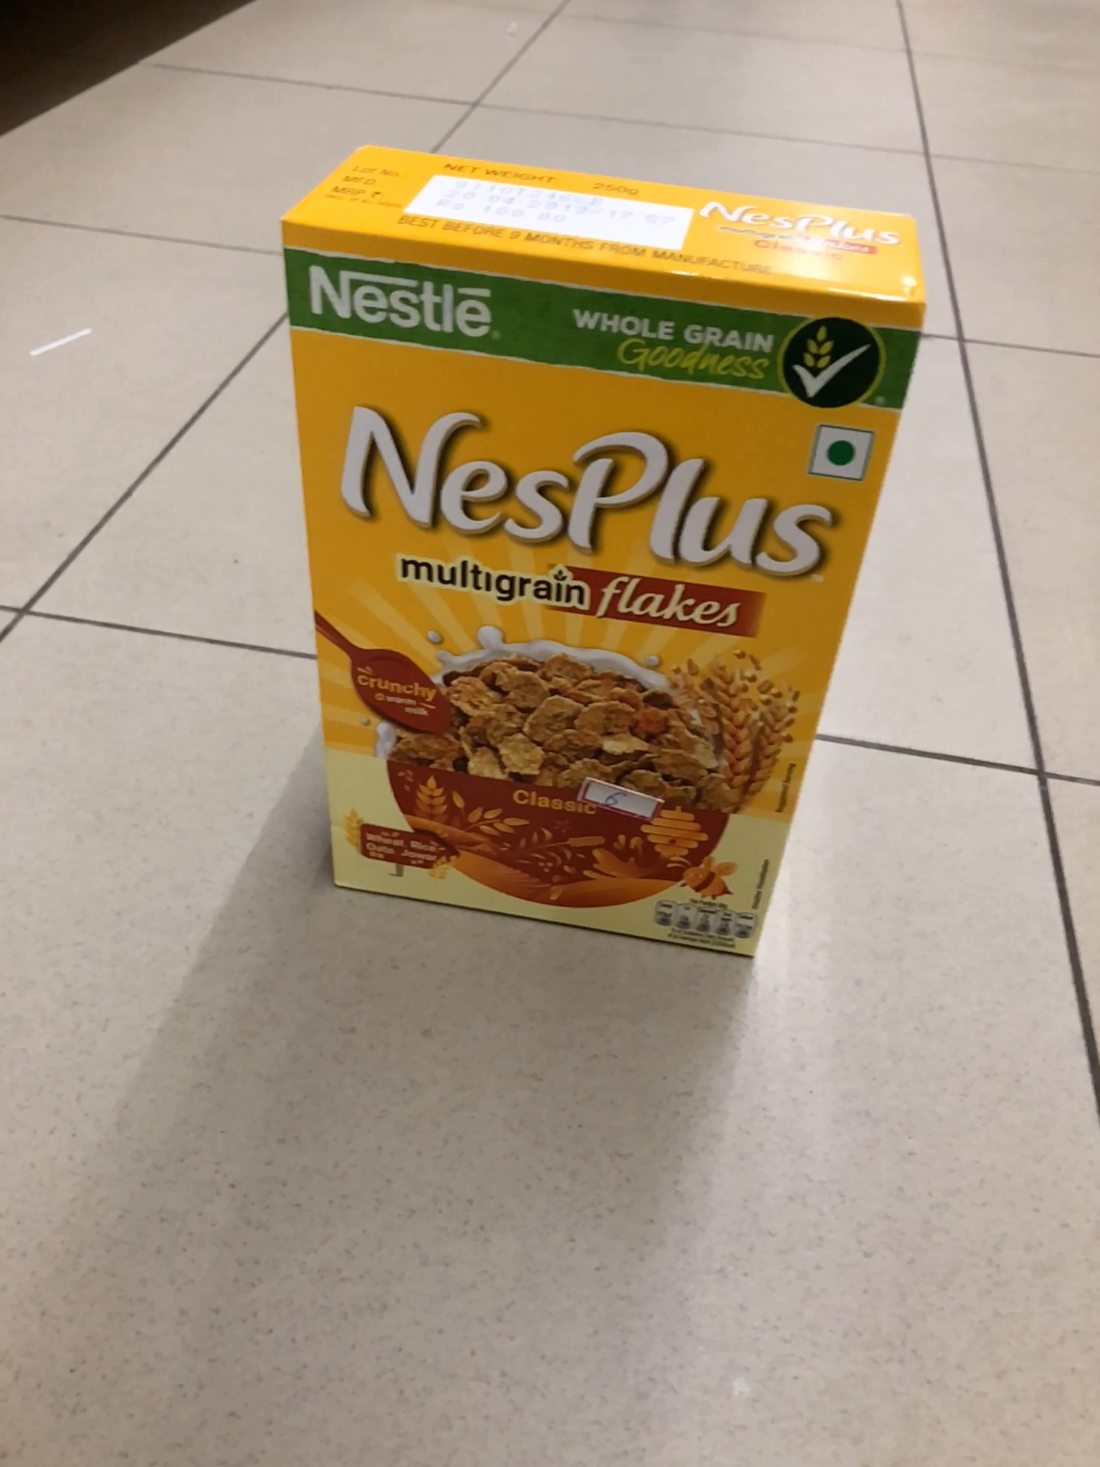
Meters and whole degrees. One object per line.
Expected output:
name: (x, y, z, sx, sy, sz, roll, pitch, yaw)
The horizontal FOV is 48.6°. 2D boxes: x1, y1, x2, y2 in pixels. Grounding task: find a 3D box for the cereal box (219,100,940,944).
cereal box: (0.003, -0.043, 0.321, 0.140, 0.199, 0.060, 9, 41, 5)
